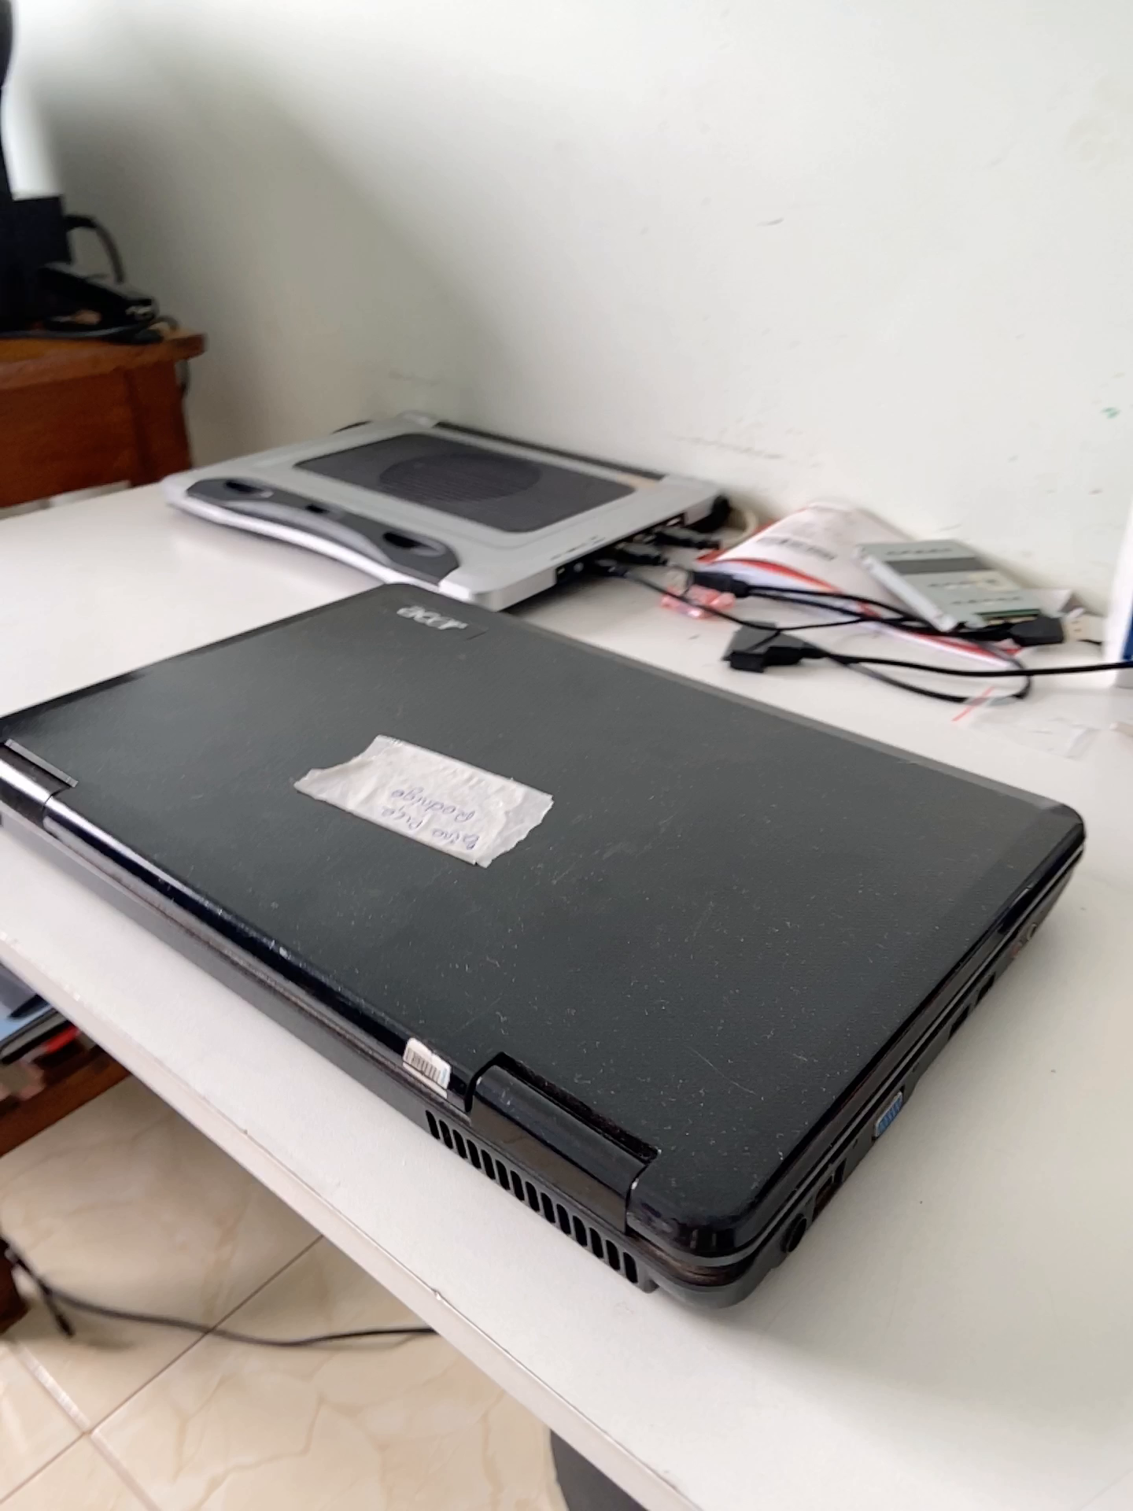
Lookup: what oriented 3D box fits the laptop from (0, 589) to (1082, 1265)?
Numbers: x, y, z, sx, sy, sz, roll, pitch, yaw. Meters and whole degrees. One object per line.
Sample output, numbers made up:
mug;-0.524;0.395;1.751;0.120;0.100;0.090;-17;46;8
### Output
laptop;-0.028;0.012;0.441;0.357;0.005;0.239;23;35;35
